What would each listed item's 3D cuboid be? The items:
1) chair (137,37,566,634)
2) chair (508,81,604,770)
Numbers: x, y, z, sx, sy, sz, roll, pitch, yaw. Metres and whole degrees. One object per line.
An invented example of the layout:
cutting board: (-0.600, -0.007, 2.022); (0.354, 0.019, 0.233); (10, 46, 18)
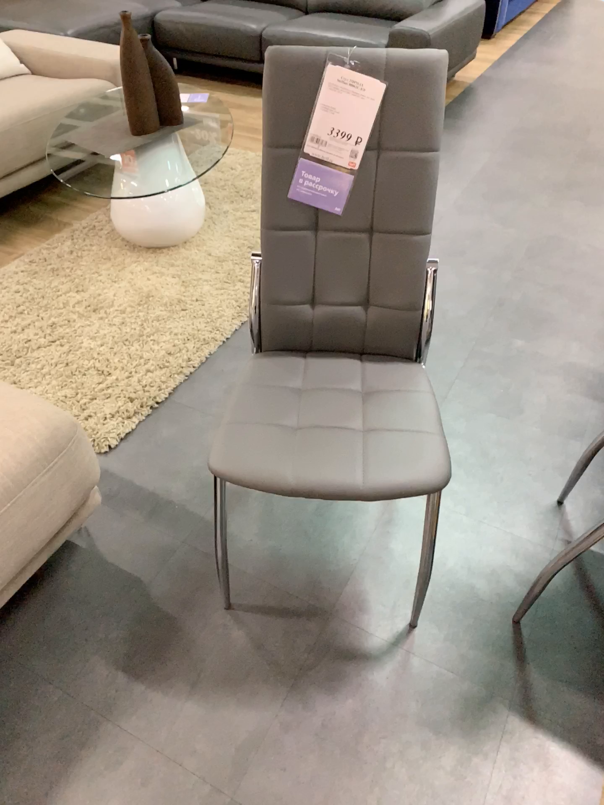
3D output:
chair: (0.077, -0.067, 1.220); (0.470, 1.025, 0.533); (4, 43, 5)
chair: (0.814, 0.096, 1.081); (0.551, 1.025, 0.452); (22, 47, 22)
